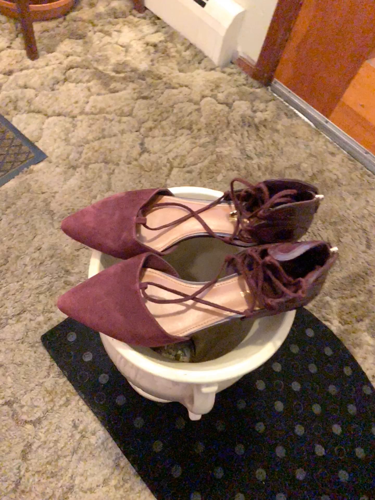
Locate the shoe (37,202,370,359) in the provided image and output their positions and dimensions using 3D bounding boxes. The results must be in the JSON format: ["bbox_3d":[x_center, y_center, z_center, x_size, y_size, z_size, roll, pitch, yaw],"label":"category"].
[{"bbox_3d":[0.009,0.028,0.356,0.260,0.099,0.093,-4,63,-12],"label":"shoe"}]

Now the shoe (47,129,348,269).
[{"bbox_3d":[0.006,-0.048,0.391,0.260,0.099,0.093,-1,63,-10],"label":"shoe"}]
